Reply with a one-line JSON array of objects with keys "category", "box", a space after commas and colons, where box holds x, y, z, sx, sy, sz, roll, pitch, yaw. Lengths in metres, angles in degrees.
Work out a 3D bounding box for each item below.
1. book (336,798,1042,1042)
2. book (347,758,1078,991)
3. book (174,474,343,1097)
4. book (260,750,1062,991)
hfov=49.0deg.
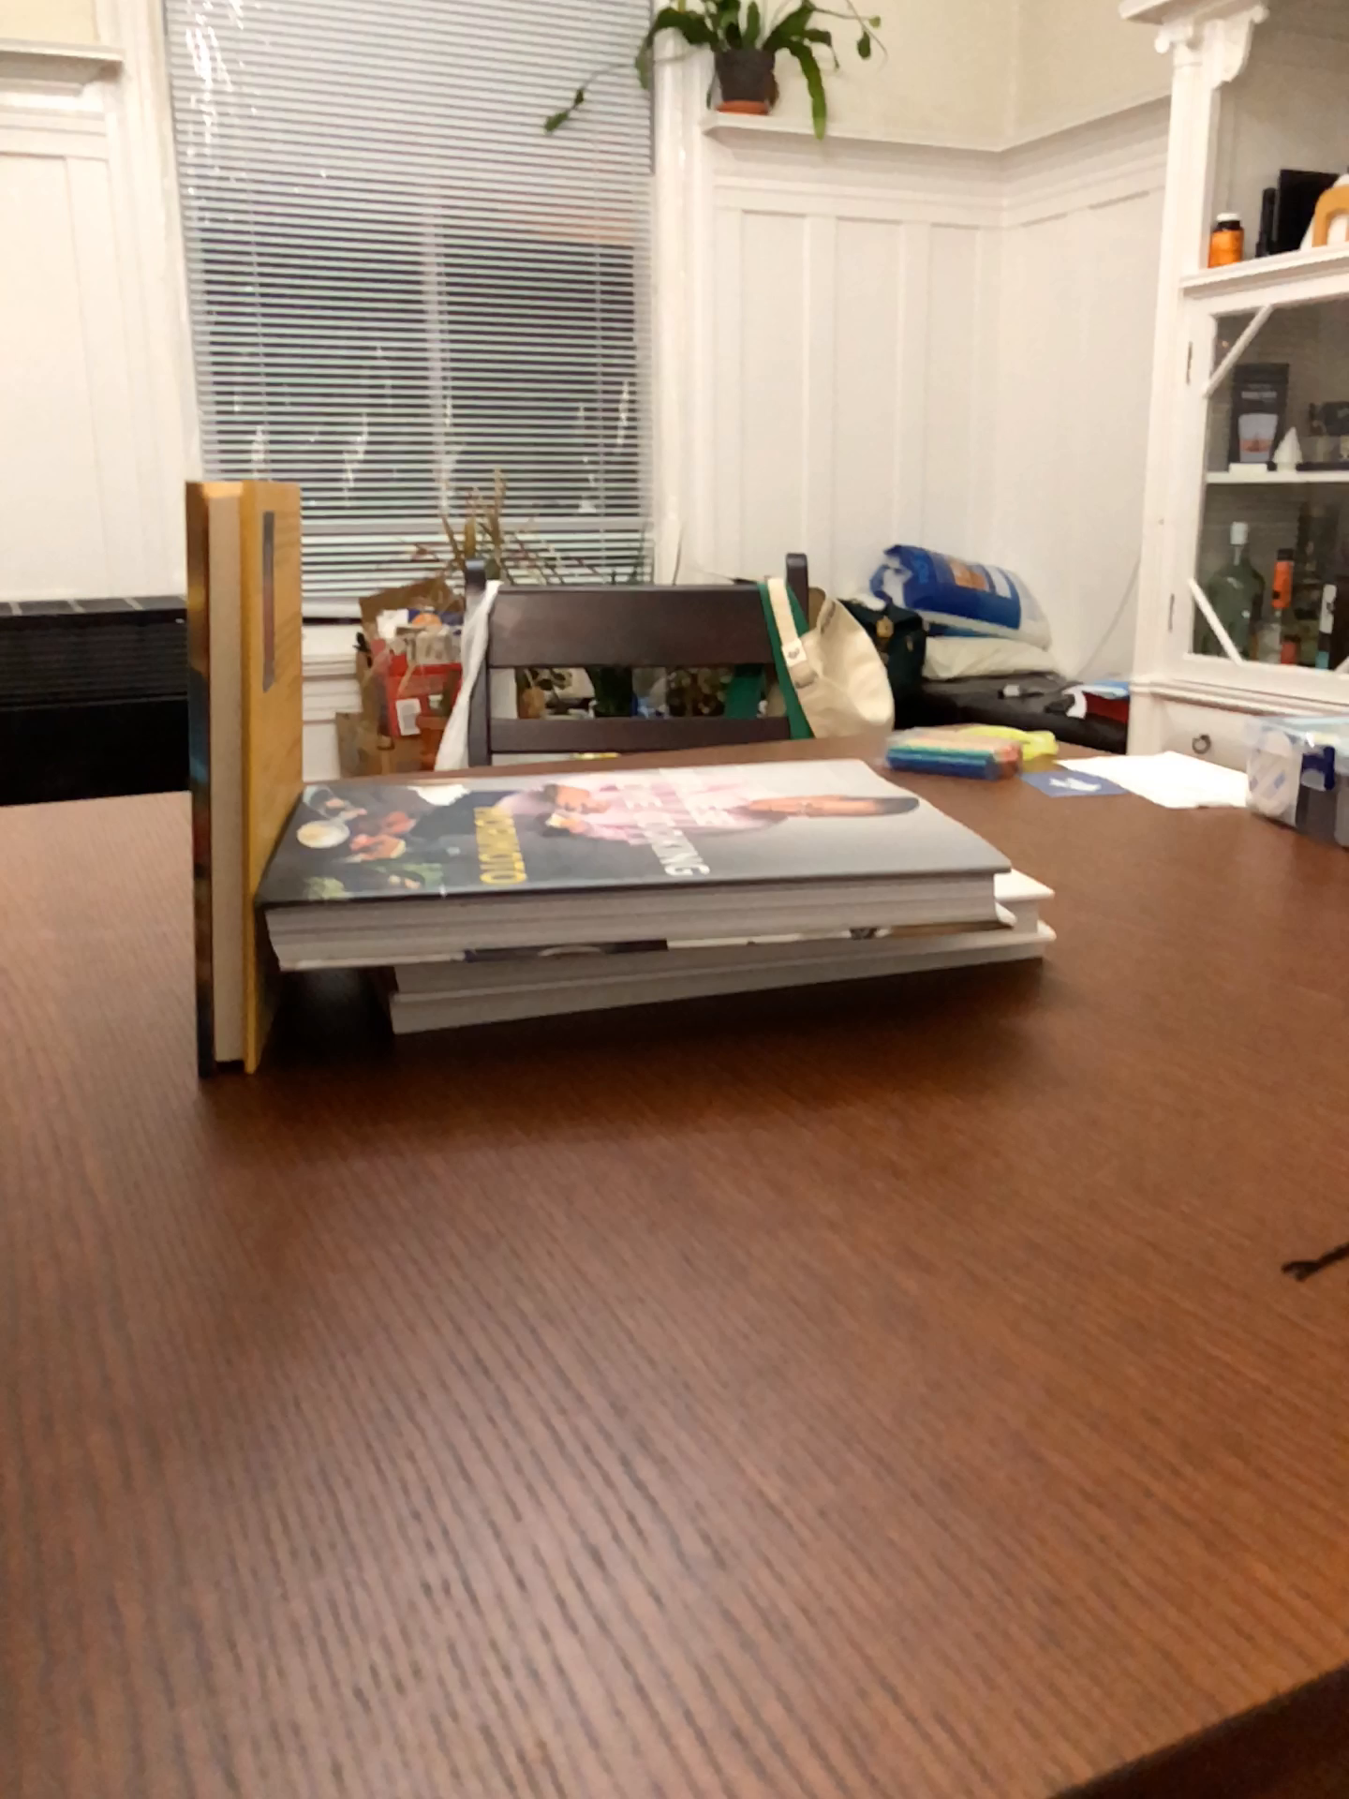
[{"category": "book", "box": [-0.007, -0.001, 0.706, 0.280, 0.030, 0.221, -6, 16, -17]}, {"category": "book", "box": [0.001, -0.022, 0.675, 0.280, 0.030, 0.221, -6, 16, -14]}, {"category": "book", "box": [-0.159, -0.061, 0.593, 0.030, 0.209, 0.211, 0, 16, -8]}, {"category": "book", "box": [-0.017, -0.022, 0.618, 0.280, 0.030, 0.221, -4, 15, -9]}]
